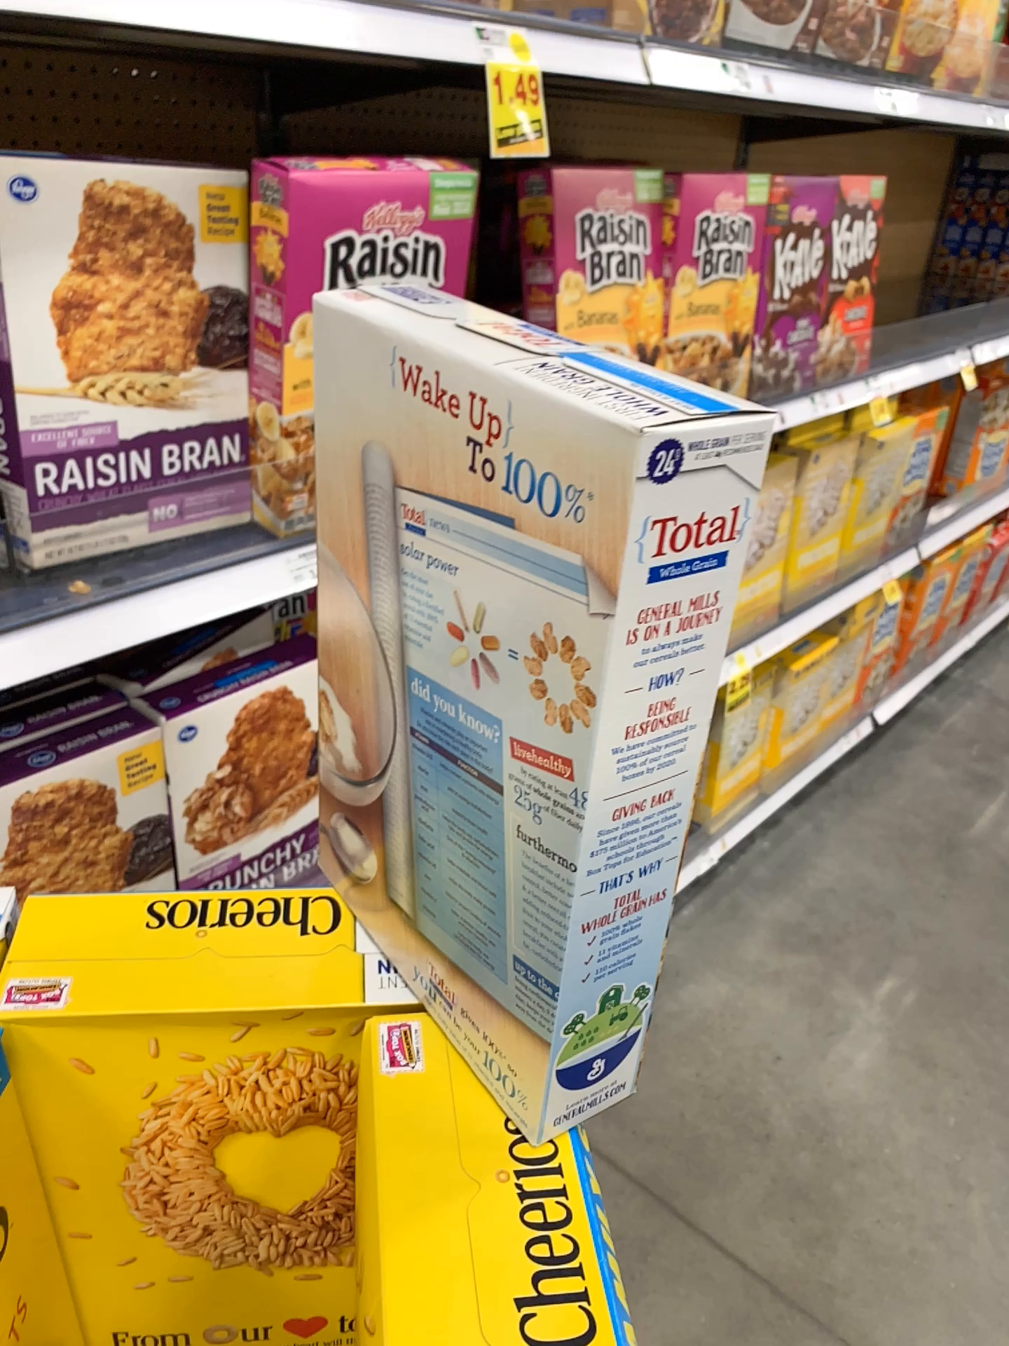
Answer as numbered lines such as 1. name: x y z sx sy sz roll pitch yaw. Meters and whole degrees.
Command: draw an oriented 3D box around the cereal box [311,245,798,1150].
1. cereal box: -0.011 0.003 0.422 0.050 0.298 0.211 -14 34 -31
